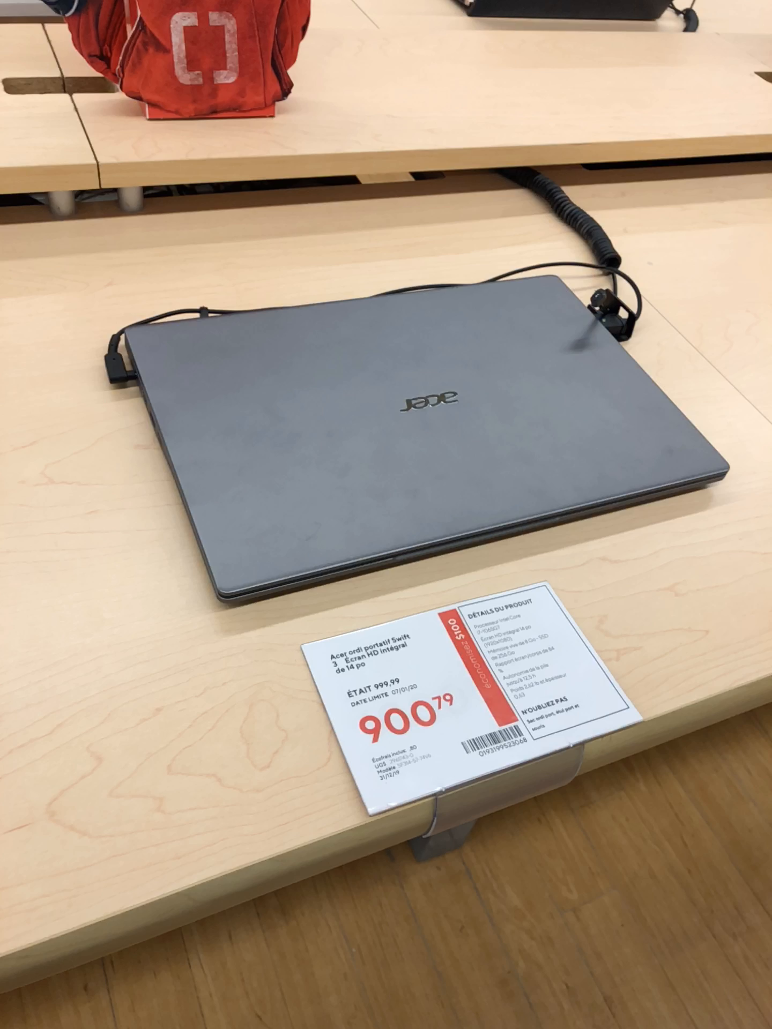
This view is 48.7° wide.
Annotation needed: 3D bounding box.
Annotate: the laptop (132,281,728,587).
[{"bbox_3d":[0.026,-0.069,0.512,0.307,0.001,0.201,-12,52,-22],"label":"laptop"}]
